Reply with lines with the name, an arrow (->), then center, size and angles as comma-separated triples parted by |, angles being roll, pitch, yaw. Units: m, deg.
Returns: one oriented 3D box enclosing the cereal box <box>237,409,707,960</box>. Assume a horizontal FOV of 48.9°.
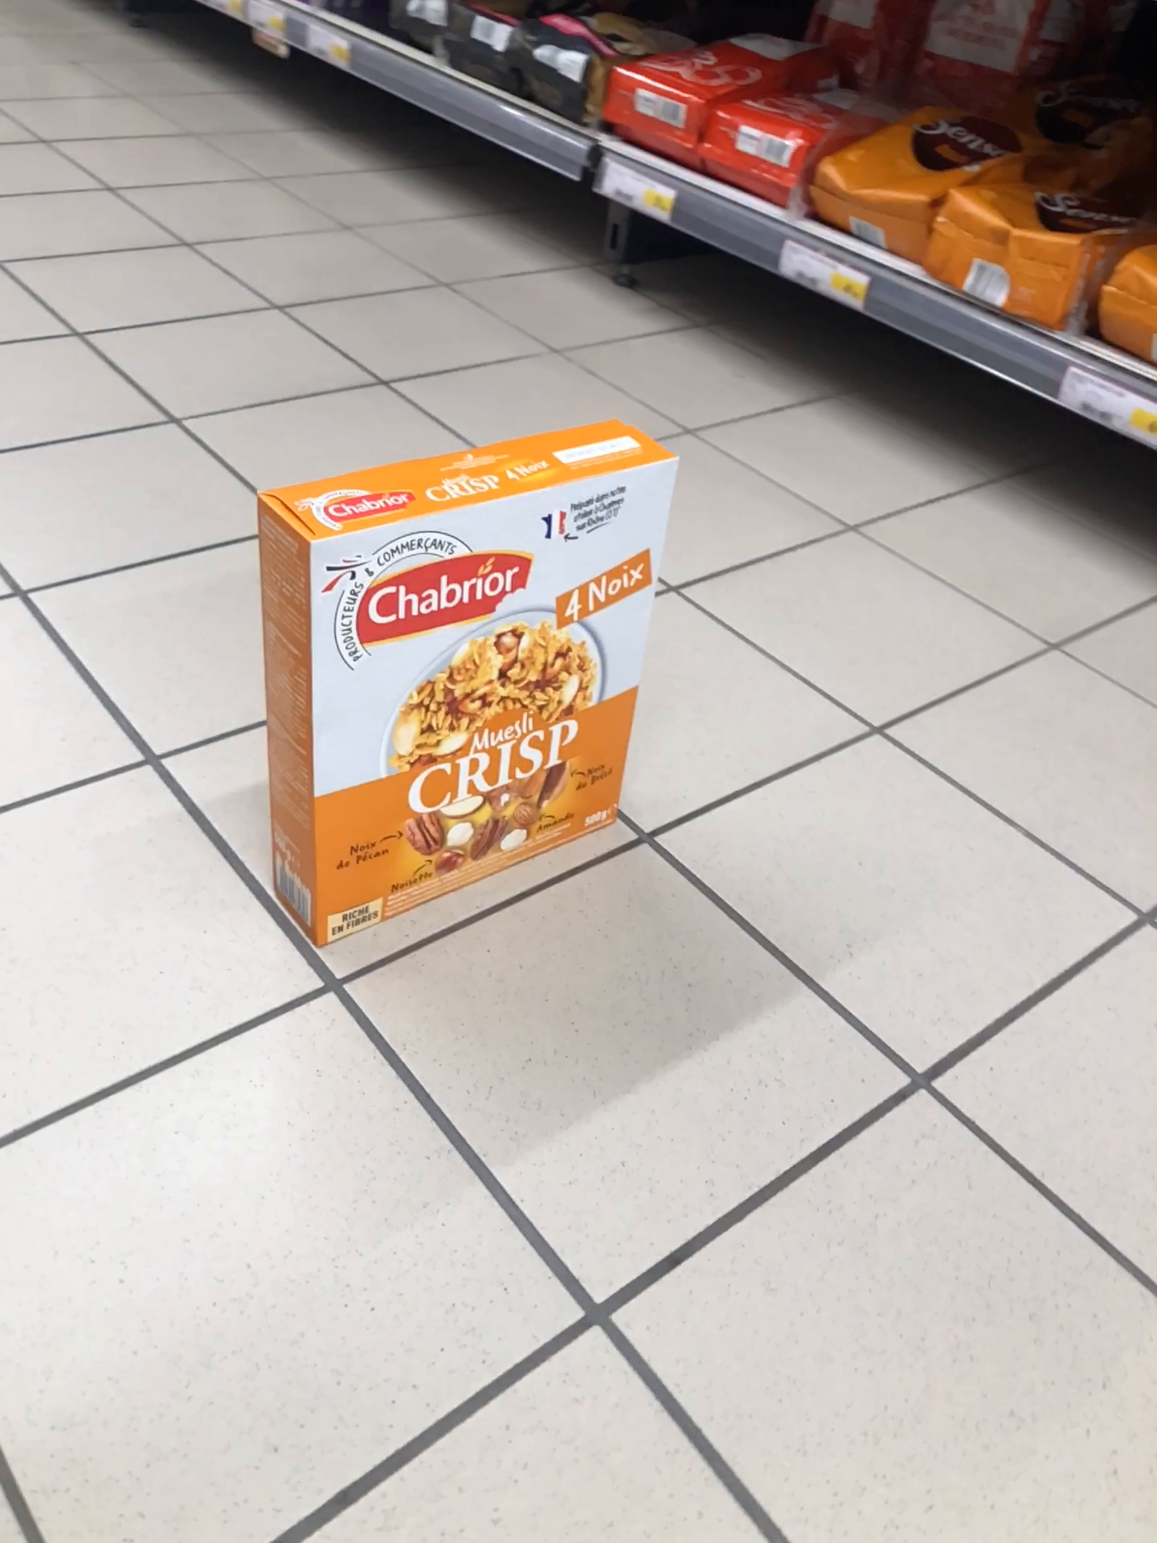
cereal box -> -0.052, -0.043, 0.609 | 0.201, 0.219, 0.060 | -21, 46, -32
